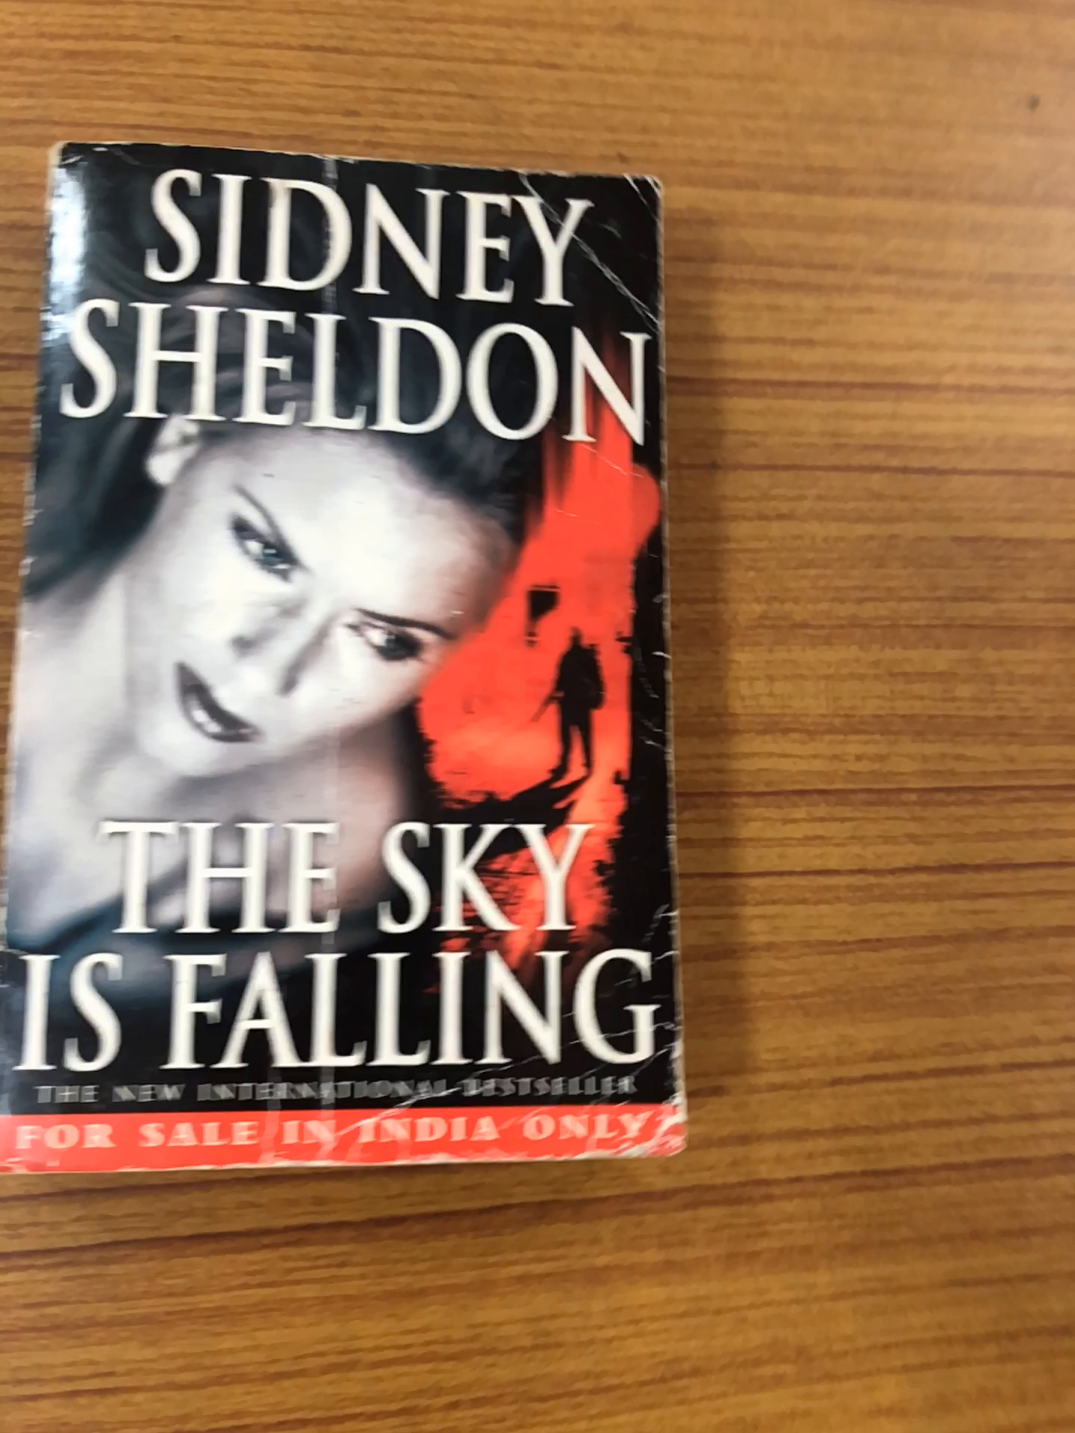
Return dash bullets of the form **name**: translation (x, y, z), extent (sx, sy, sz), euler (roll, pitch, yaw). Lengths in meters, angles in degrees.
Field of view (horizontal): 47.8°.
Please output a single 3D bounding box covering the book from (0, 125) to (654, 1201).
- **book**: translation (-0.042, -0.010, 0.210), extent (0.120, 0.030, 0.170), euler (2, 81, -7)
